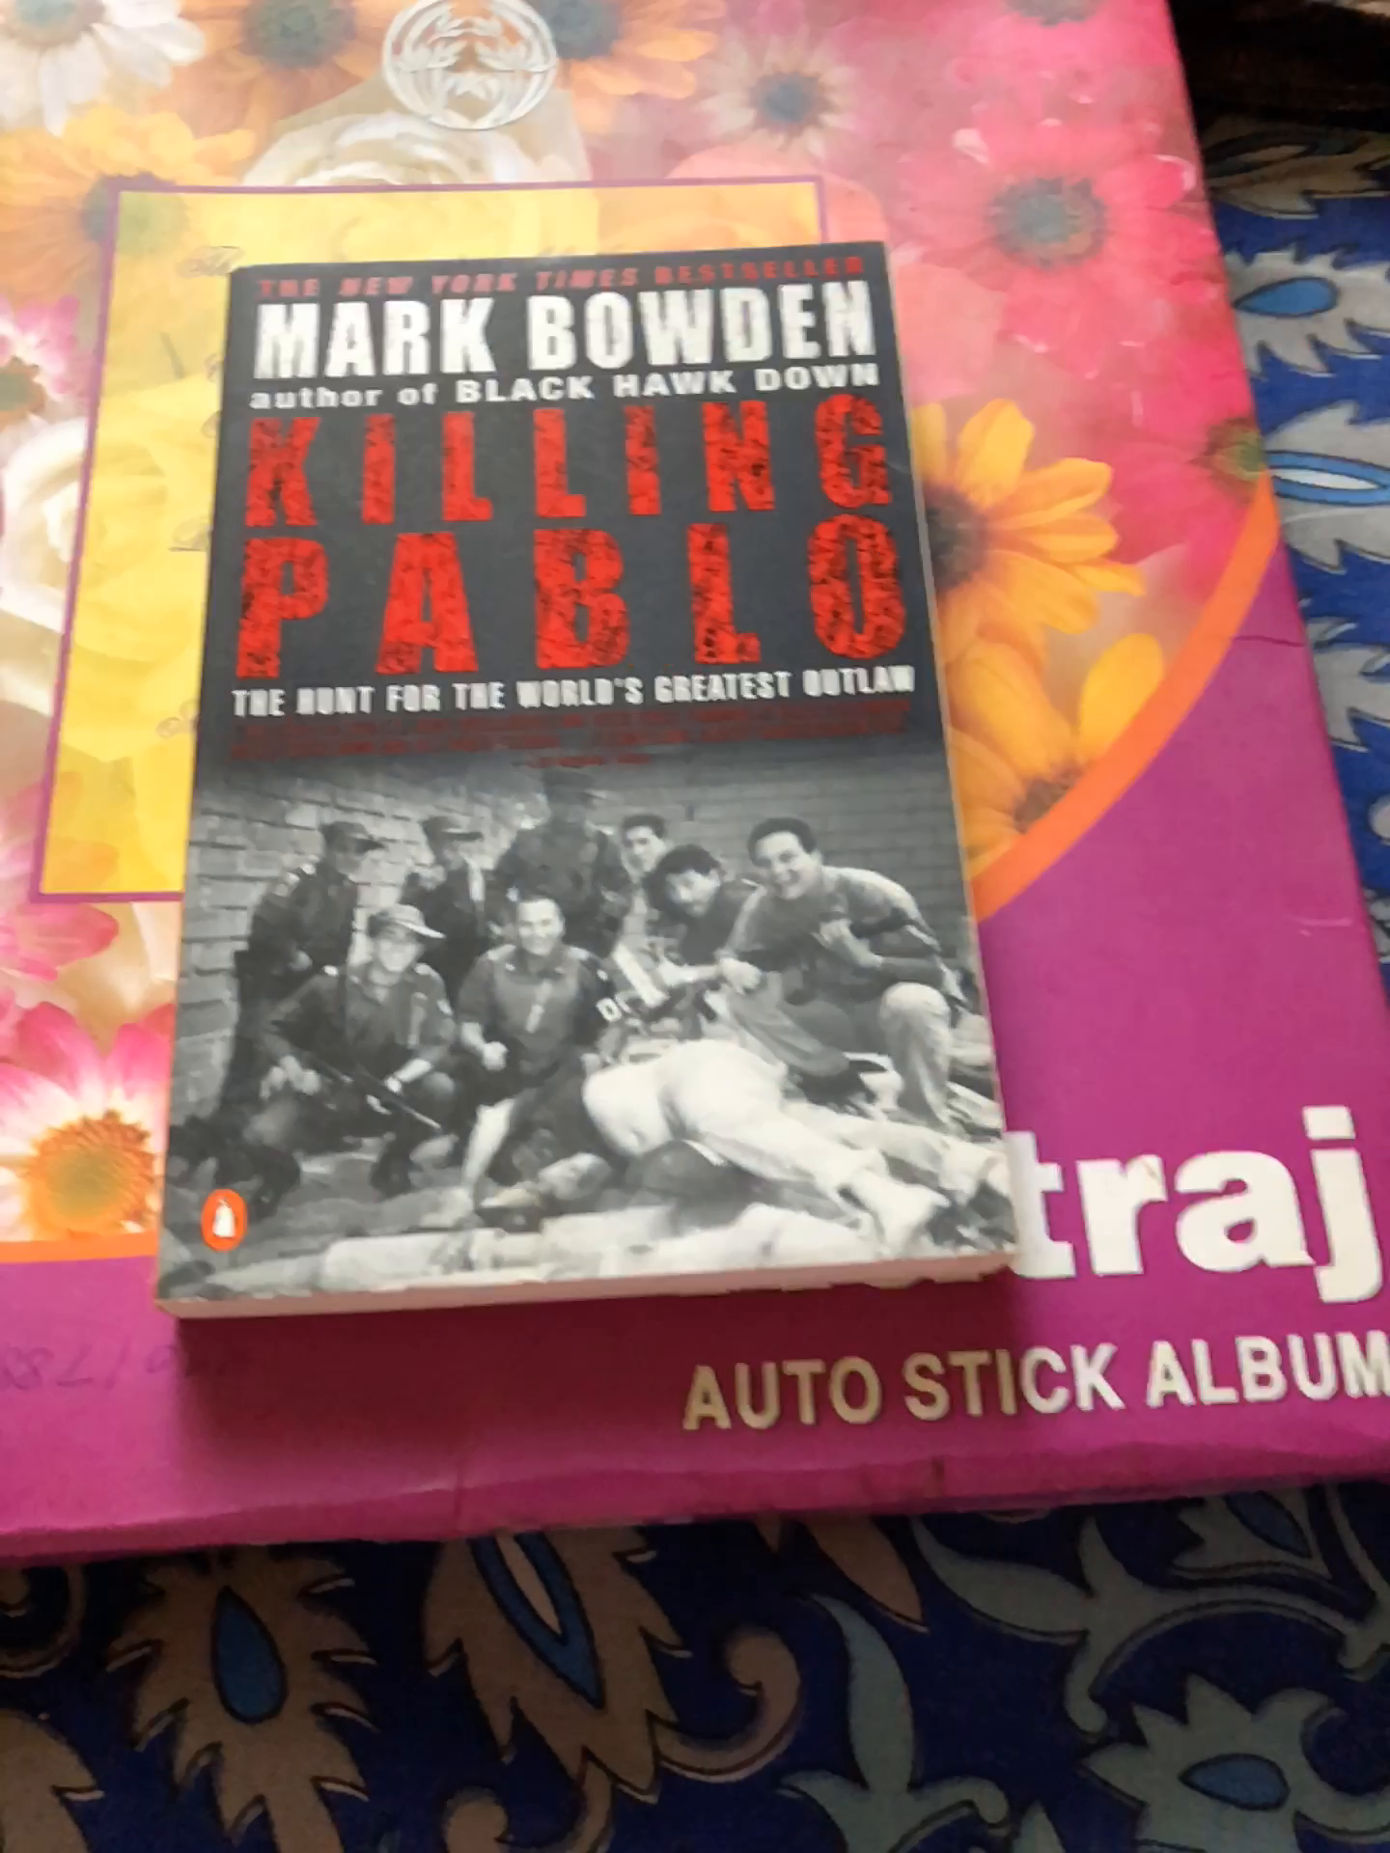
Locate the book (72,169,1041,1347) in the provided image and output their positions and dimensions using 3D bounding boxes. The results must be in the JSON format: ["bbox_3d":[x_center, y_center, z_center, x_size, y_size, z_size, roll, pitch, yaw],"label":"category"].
[{"bbox_3d":[-0.028,-0.044,0.299,0.150,0.030,0.231,-4,66,2],"label":"book"}]
